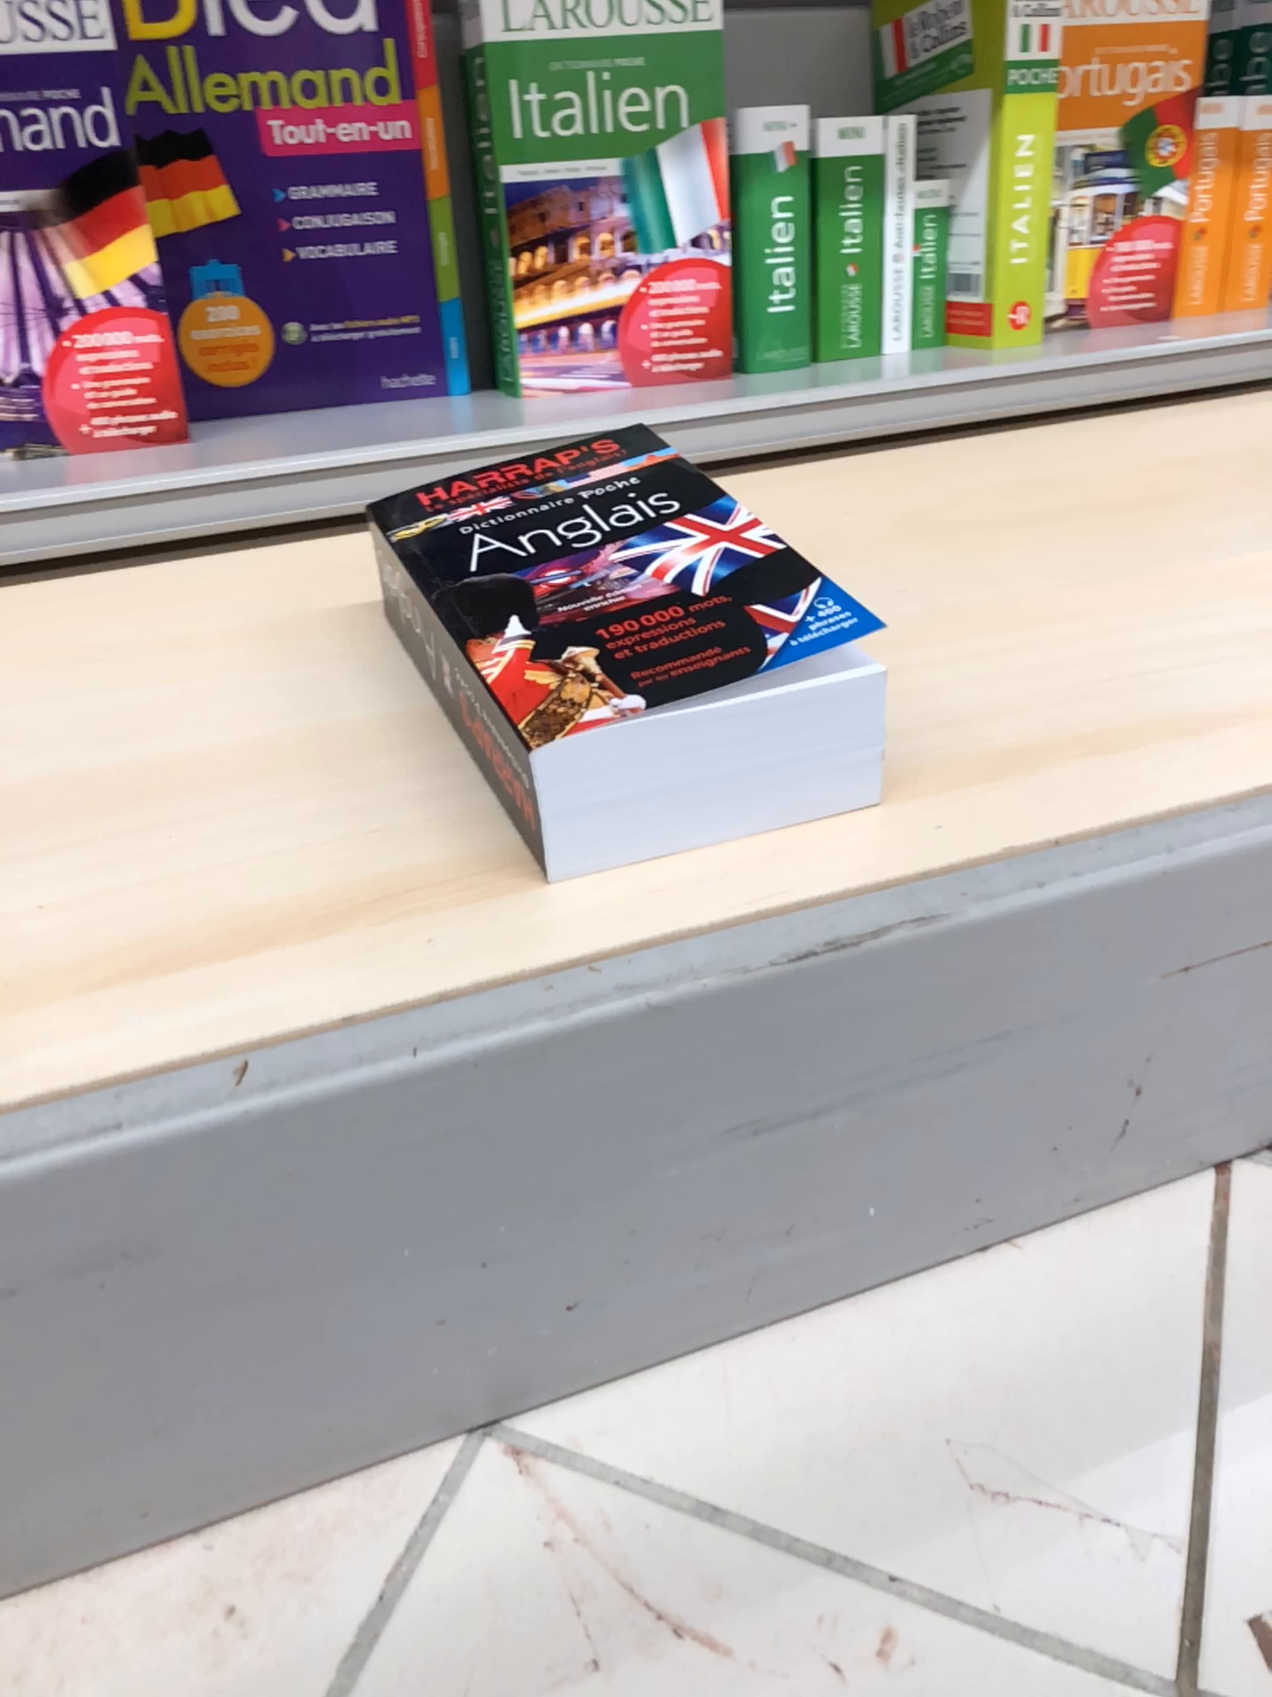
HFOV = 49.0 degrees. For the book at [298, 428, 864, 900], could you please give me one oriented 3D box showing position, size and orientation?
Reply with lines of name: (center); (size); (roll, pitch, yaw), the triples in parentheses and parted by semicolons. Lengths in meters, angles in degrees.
book: (-0.027, -0.071, 0.443); (0.115, 0.057, 0.182); (-13, 37, -19)
